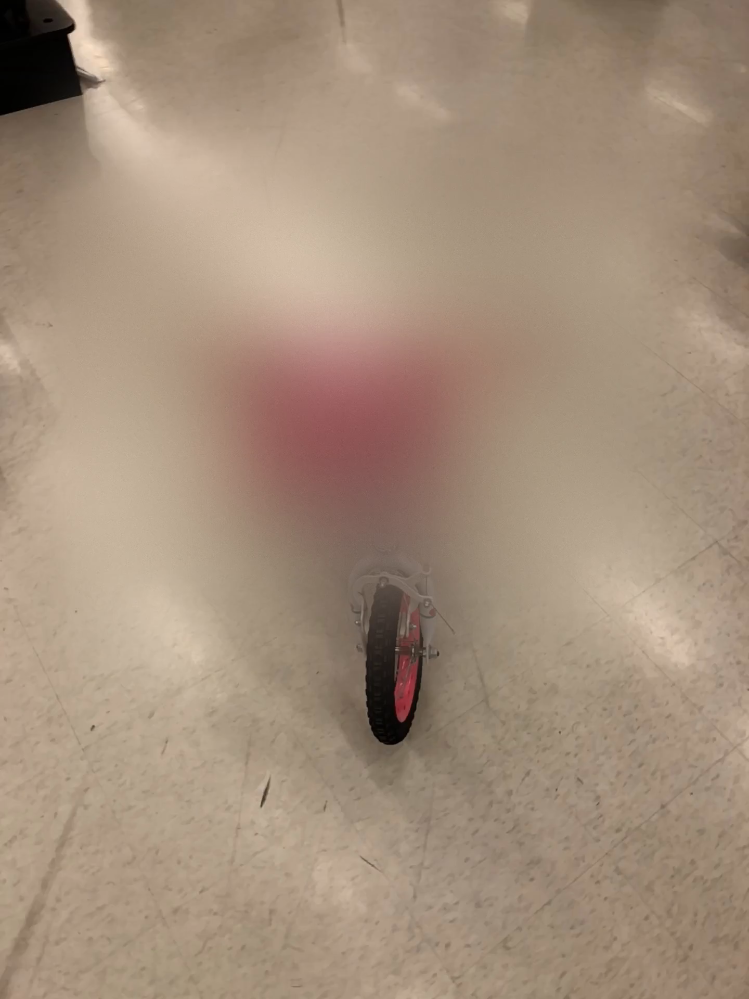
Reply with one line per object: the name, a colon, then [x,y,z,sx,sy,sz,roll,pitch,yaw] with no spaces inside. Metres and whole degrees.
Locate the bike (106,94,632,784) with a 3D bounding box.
bike: [-0.065,-0.089,1.283,0.510,0.681,0.776,-6,54,-7]
